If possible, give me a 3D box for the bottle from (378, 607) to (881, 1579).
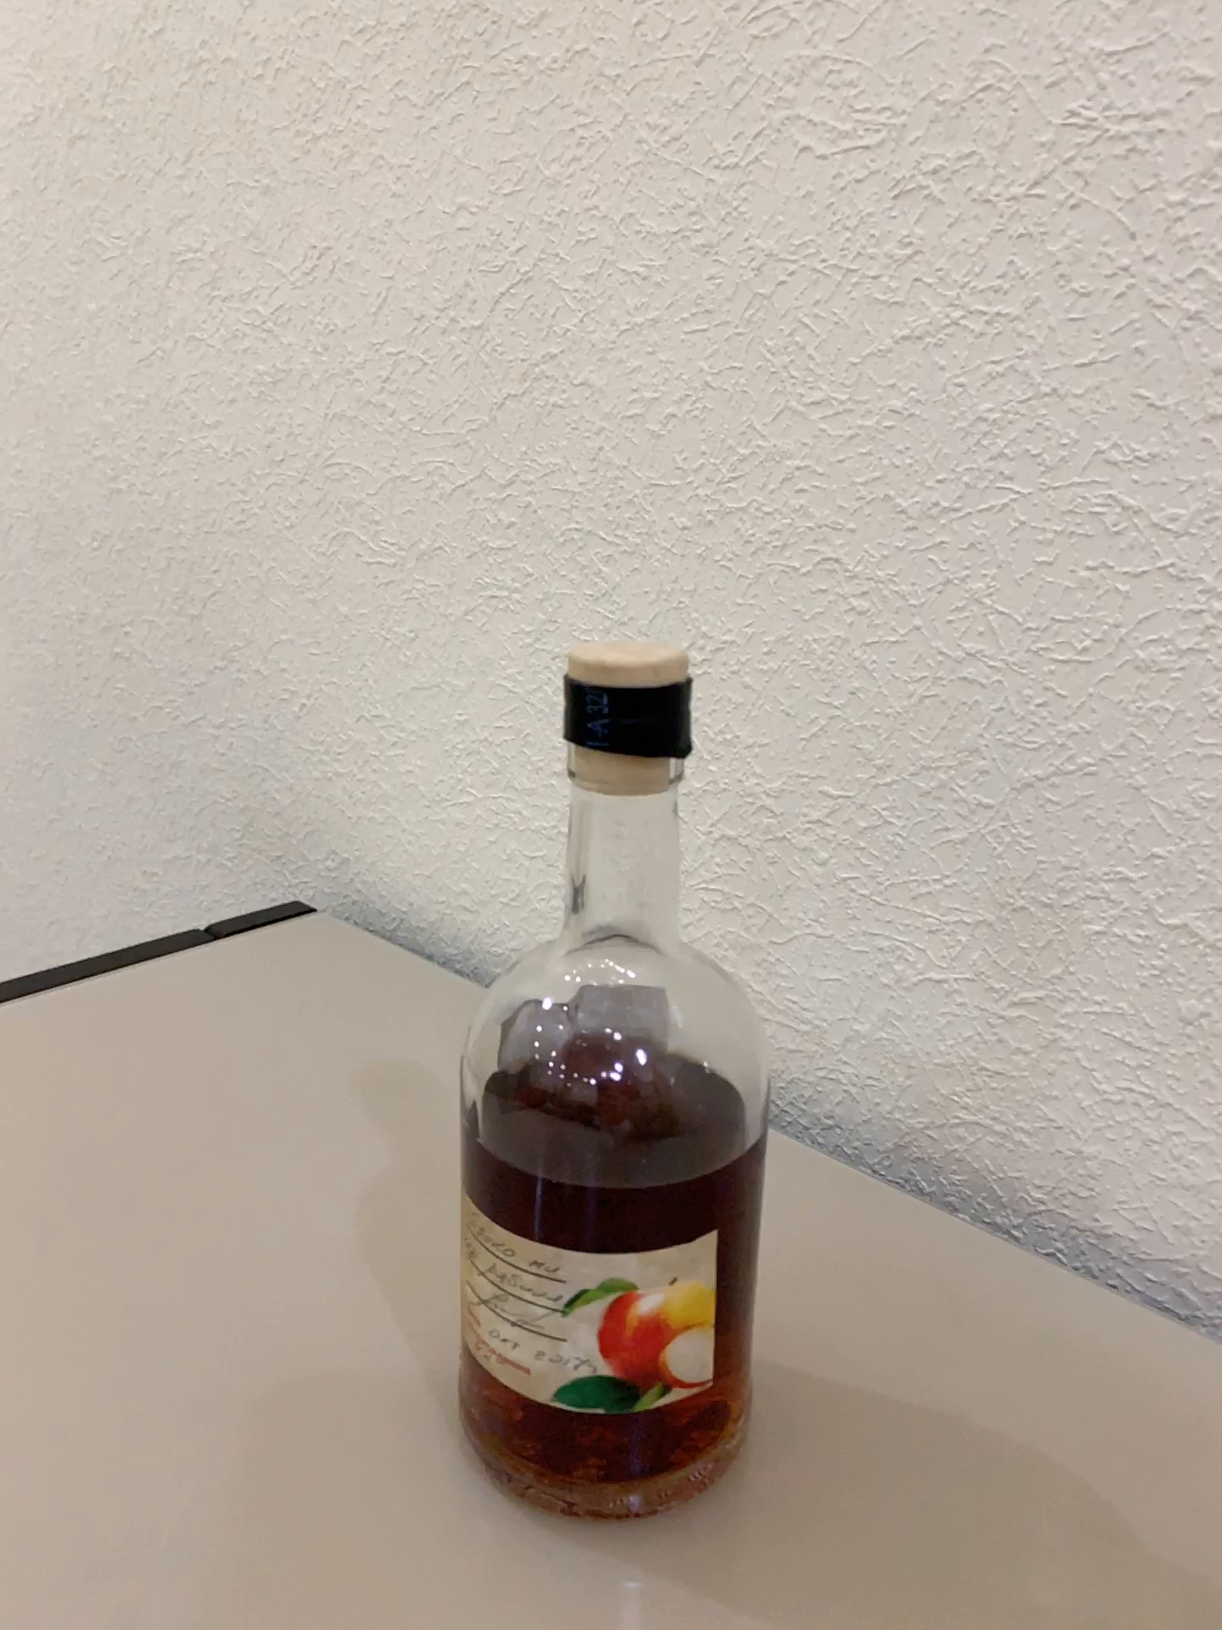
[{"bbox_3d":[0.006,0.059,0.306,0.090,0.202,0.080,7,17,19],"label":"bottle"}]
